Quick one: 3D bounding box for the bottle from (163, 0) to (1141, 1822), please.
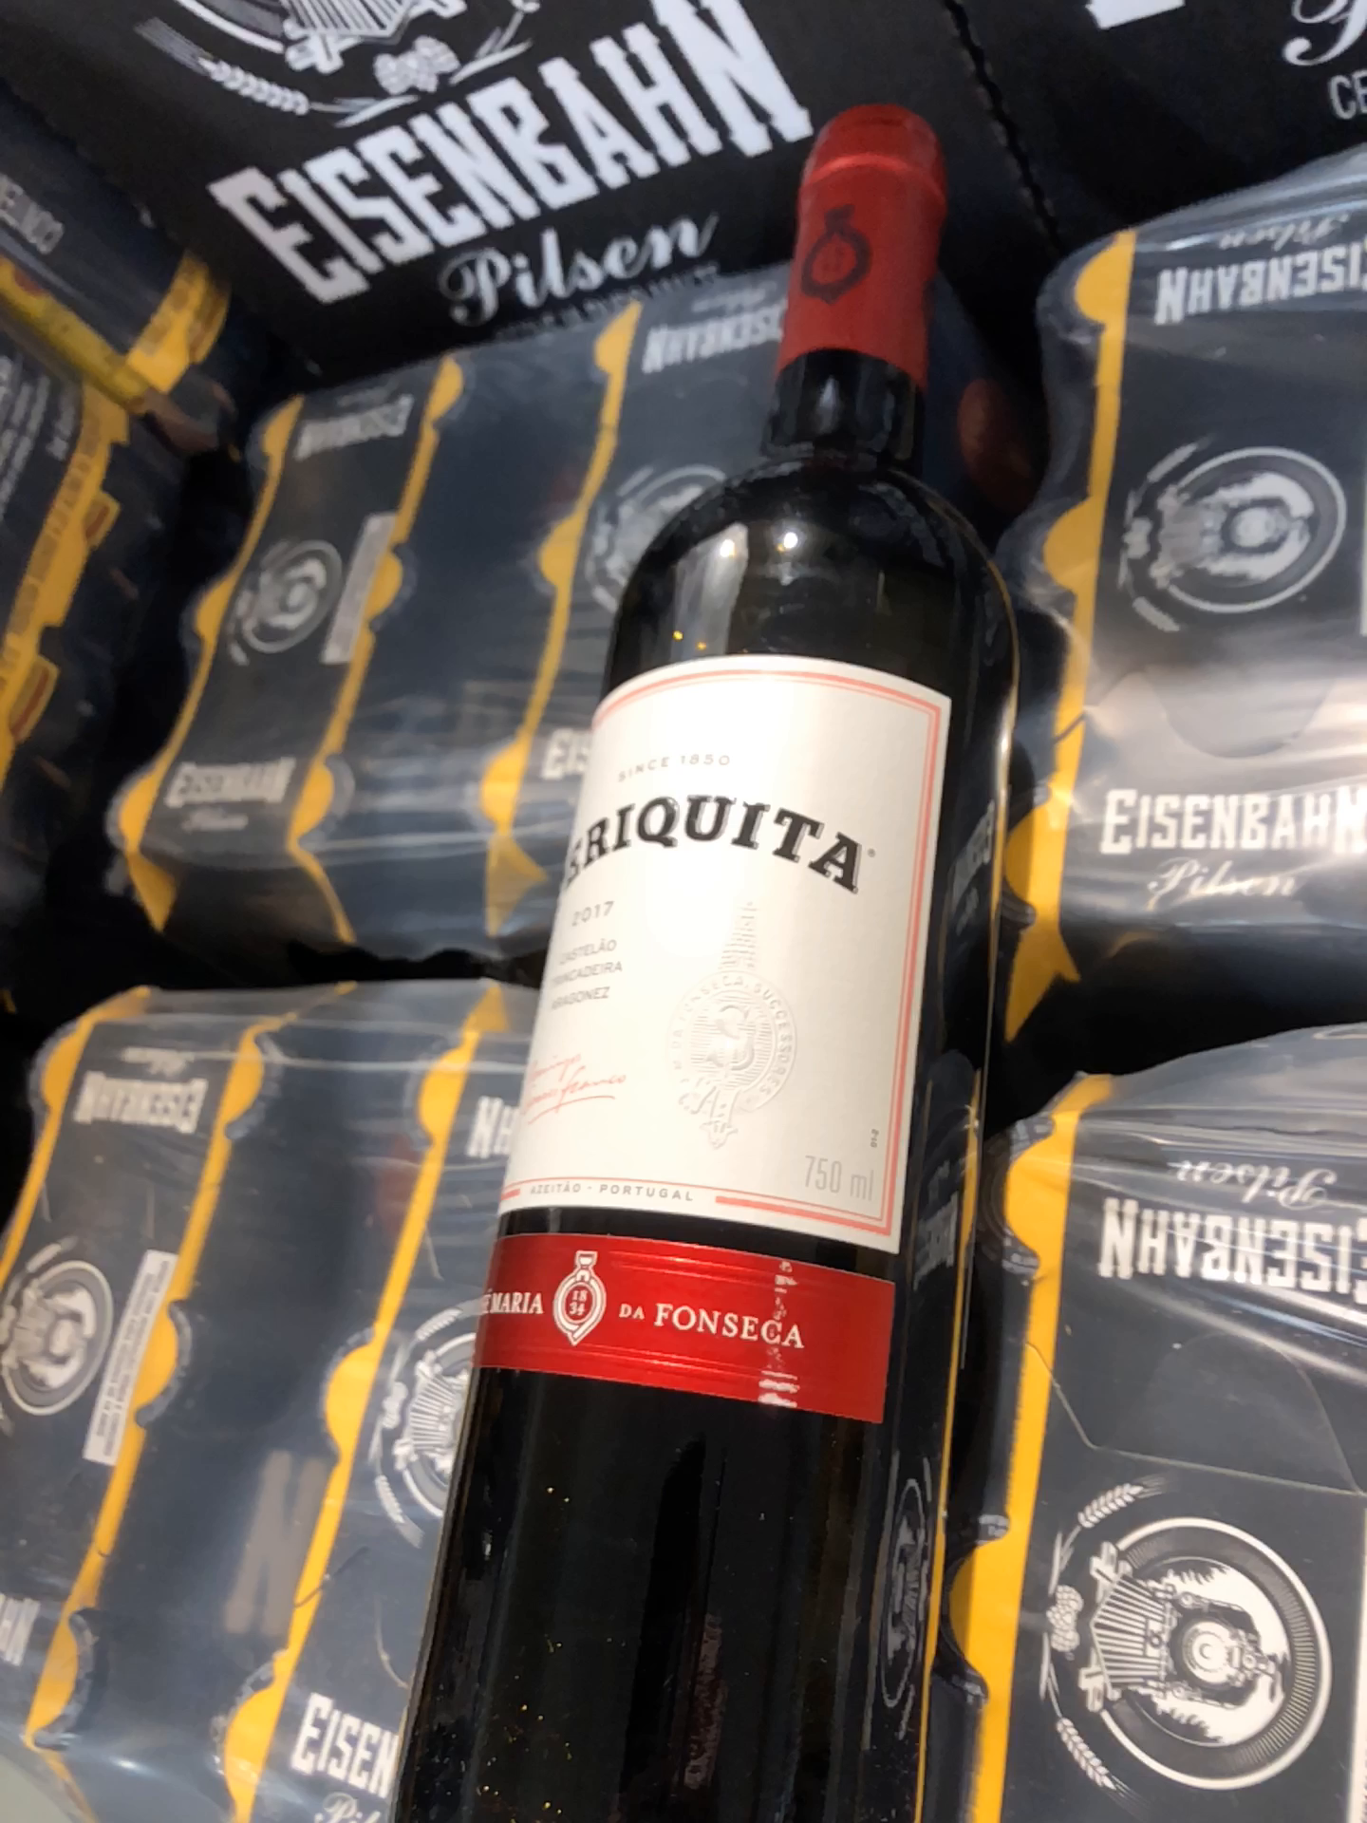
[{"bbox_3d":[0.015,-0.021,0.243,0.080,0.070,0.331,-3,66,31],"label":"bottle"}]
